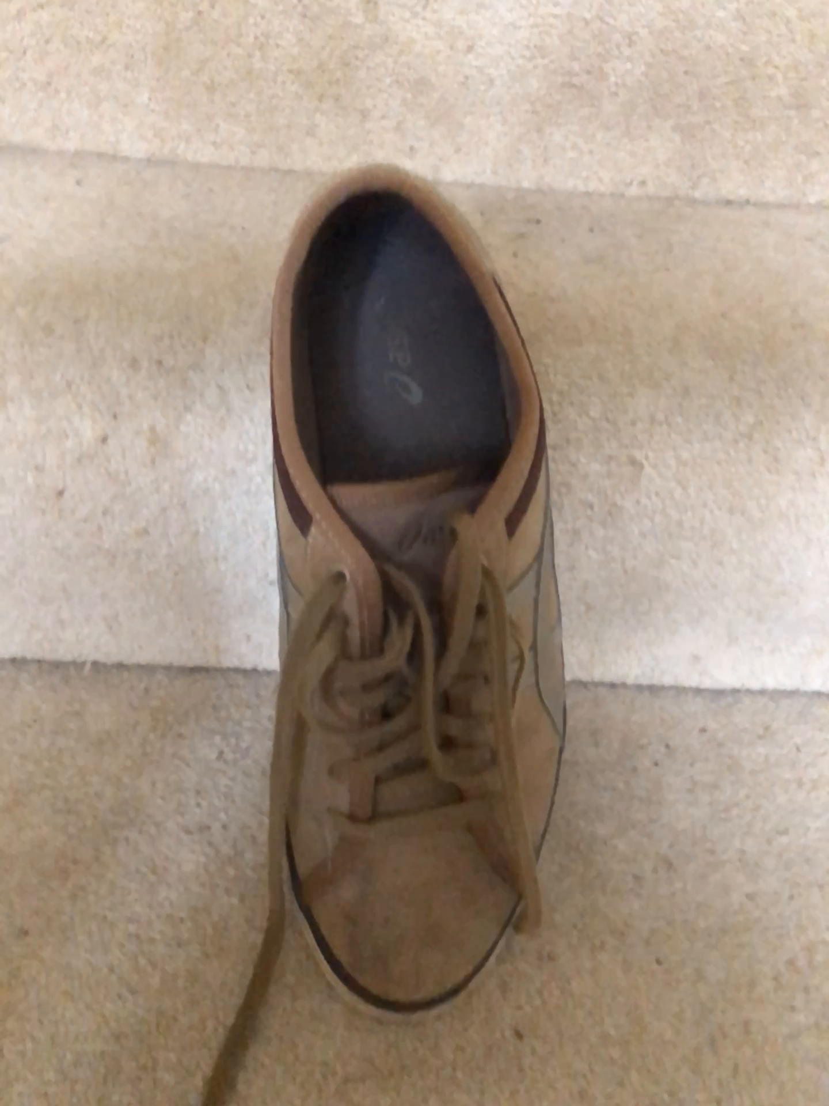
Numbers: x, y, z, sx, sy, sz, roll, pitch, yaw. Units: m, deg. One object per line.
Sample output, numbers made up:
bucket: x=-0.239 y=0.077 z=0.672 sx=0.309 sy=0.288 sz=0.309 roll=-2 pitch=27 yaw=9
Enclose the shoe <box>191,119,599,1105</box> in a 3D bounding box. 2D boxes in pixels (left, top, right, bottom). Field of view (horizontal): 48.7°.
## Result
shoe: x=-0.007 y=0.027 z=0.318 sx=0.110 sy=0.300 sz=0.120 roll=-1 pitch=-4 yaw=1
